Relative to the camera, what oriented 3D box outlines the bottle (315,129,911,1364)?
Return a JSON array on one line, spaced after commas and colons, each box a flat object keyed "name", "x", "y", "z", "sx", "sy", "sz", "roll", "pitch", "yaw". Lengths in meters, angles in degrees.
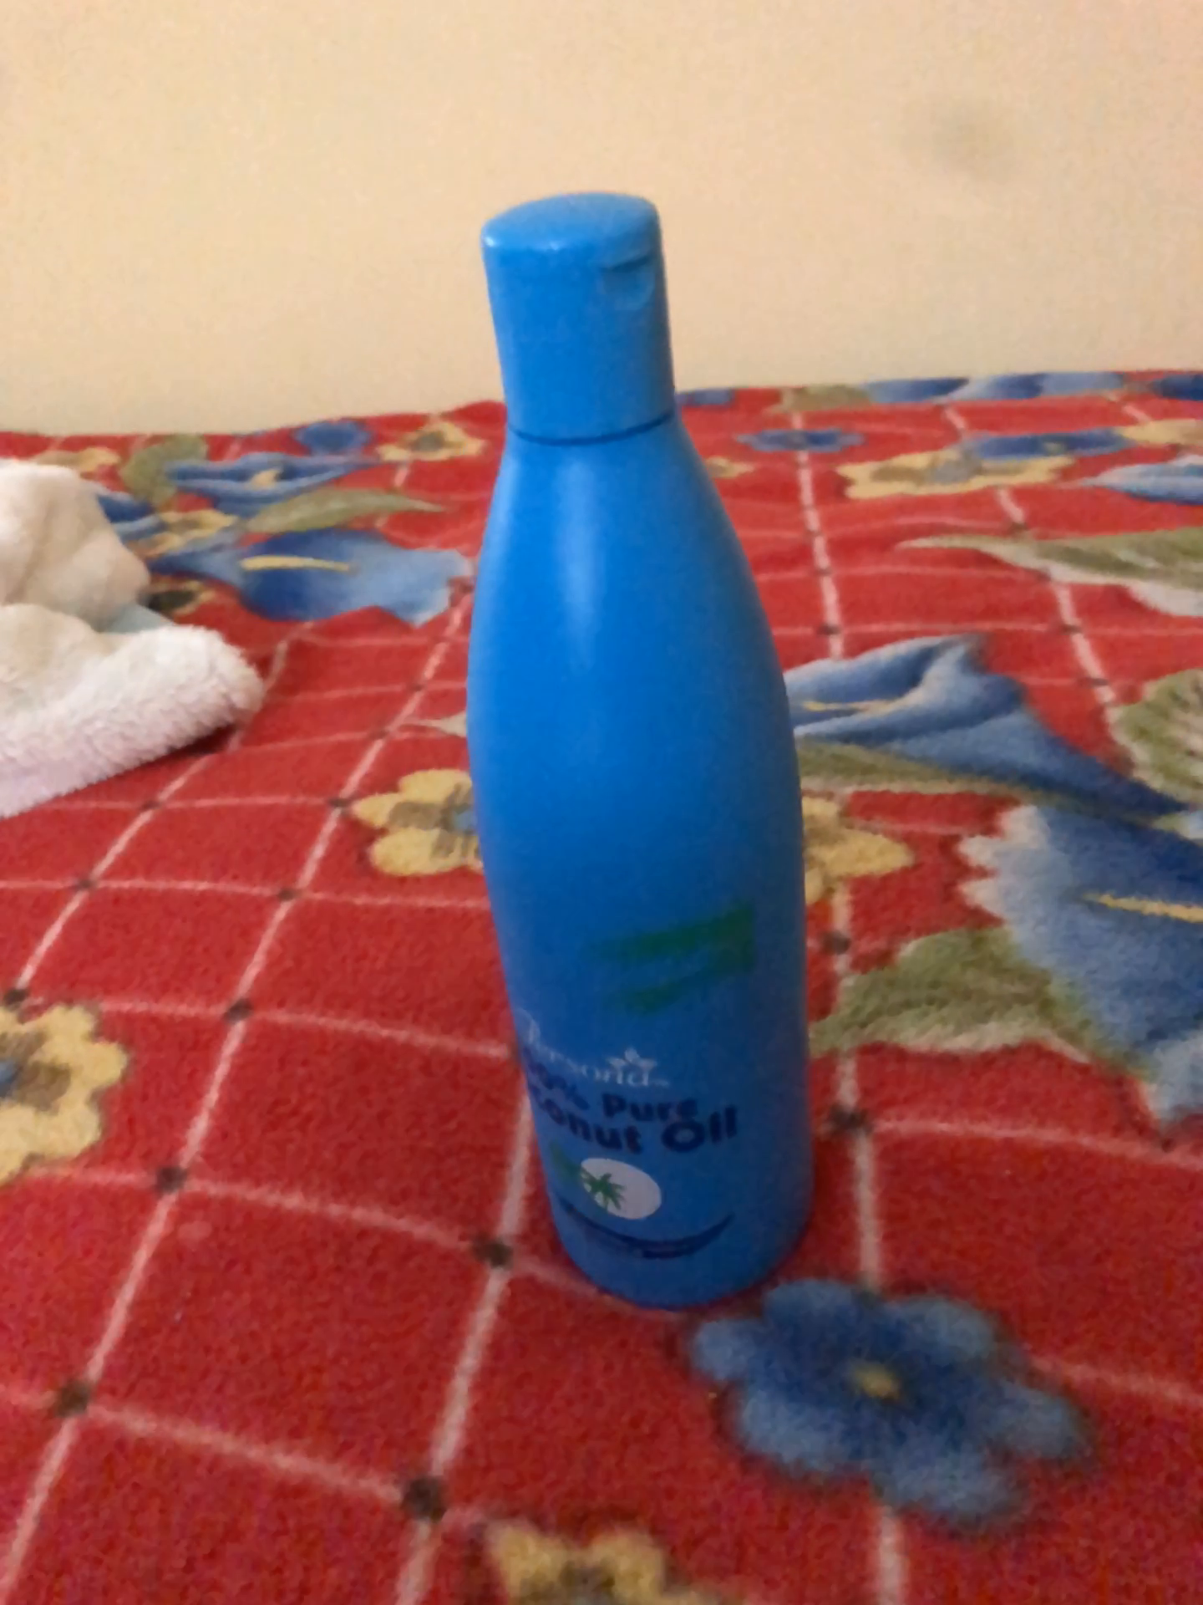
[{"name": "bottle", "x": 0.015, "y": 0.000, "z": 0.267, "sx": 0.070, "sy": 0.229, "sz": 0.070, "roll": -5, "pitch": 32, "yaw": 3}]
